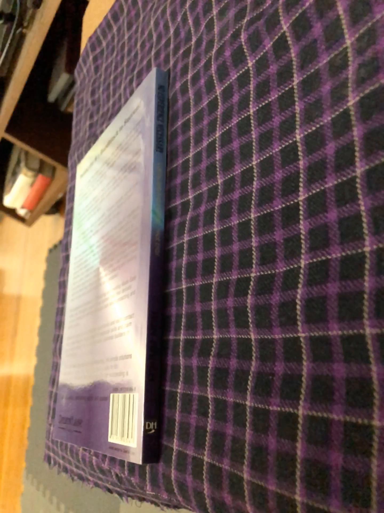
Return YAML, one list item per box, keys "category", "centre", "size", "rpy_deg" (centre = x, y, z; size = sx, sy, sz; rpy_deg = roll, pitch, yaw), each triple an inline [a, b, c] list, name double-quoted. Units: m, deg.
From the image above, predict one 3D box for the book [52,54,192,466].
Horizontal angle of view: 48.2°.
- category: "book"
  centre: [-0.053, 0.008, 0.289]
  size: [0.161, 0.020, 0.220]
  rpy_deg: [-26, 59, 53]
